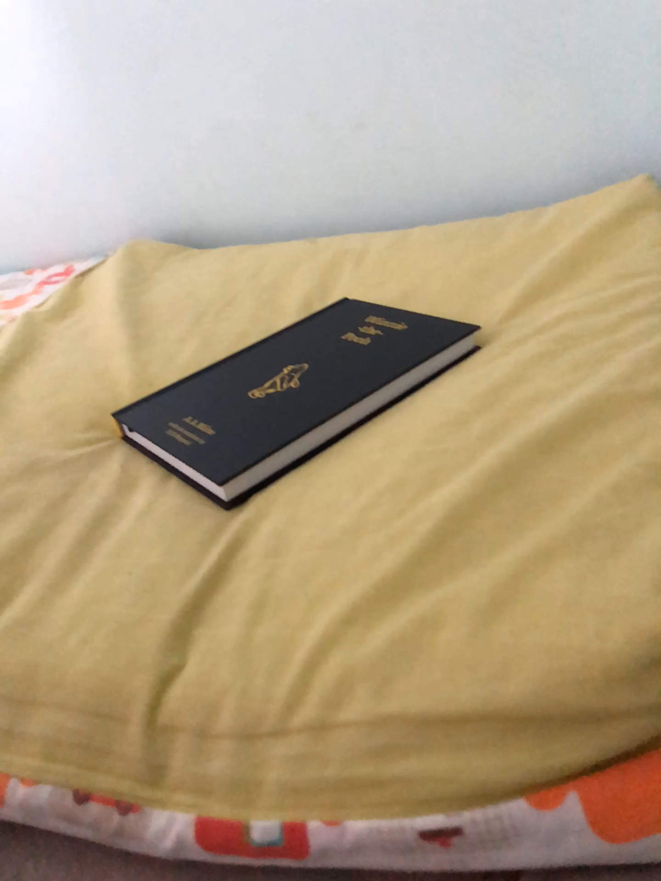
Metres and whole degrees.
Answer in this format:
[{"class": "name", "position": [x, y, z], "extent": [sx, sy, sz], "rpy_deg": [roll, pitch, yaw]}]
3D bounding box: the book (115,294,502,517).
[{"class": "book", "position": [-0.015, -0.040, 0.494], "extent": [0.221, 0.020, 0.150], "rpy_deg": [-31, 34, -27]}]
